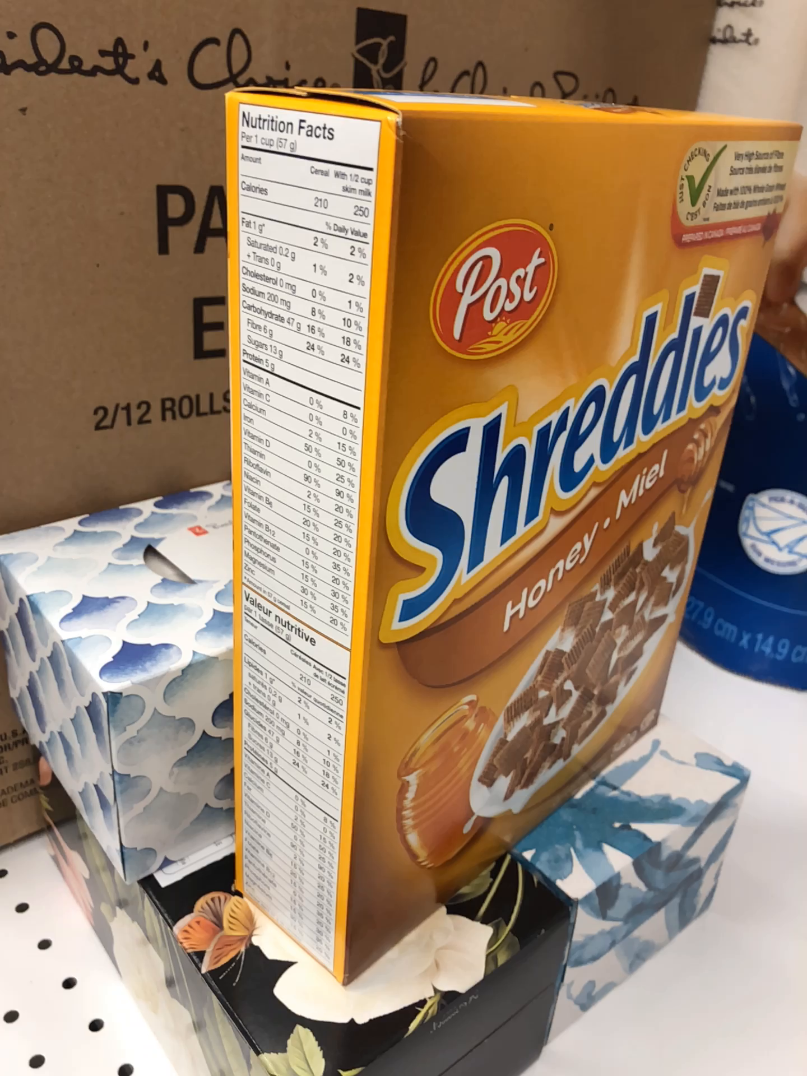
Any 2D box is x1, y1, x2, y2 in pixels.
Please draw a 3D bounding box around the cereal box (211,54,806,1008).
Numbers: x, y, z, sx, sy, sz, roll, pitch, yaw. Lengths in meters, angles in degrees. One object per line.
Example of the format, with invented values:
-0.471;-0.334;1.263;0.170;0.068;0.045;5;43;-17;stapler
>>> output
0.045;-0.013;0.315;0.060;0.259;0.221;25;33;35;cereal box
